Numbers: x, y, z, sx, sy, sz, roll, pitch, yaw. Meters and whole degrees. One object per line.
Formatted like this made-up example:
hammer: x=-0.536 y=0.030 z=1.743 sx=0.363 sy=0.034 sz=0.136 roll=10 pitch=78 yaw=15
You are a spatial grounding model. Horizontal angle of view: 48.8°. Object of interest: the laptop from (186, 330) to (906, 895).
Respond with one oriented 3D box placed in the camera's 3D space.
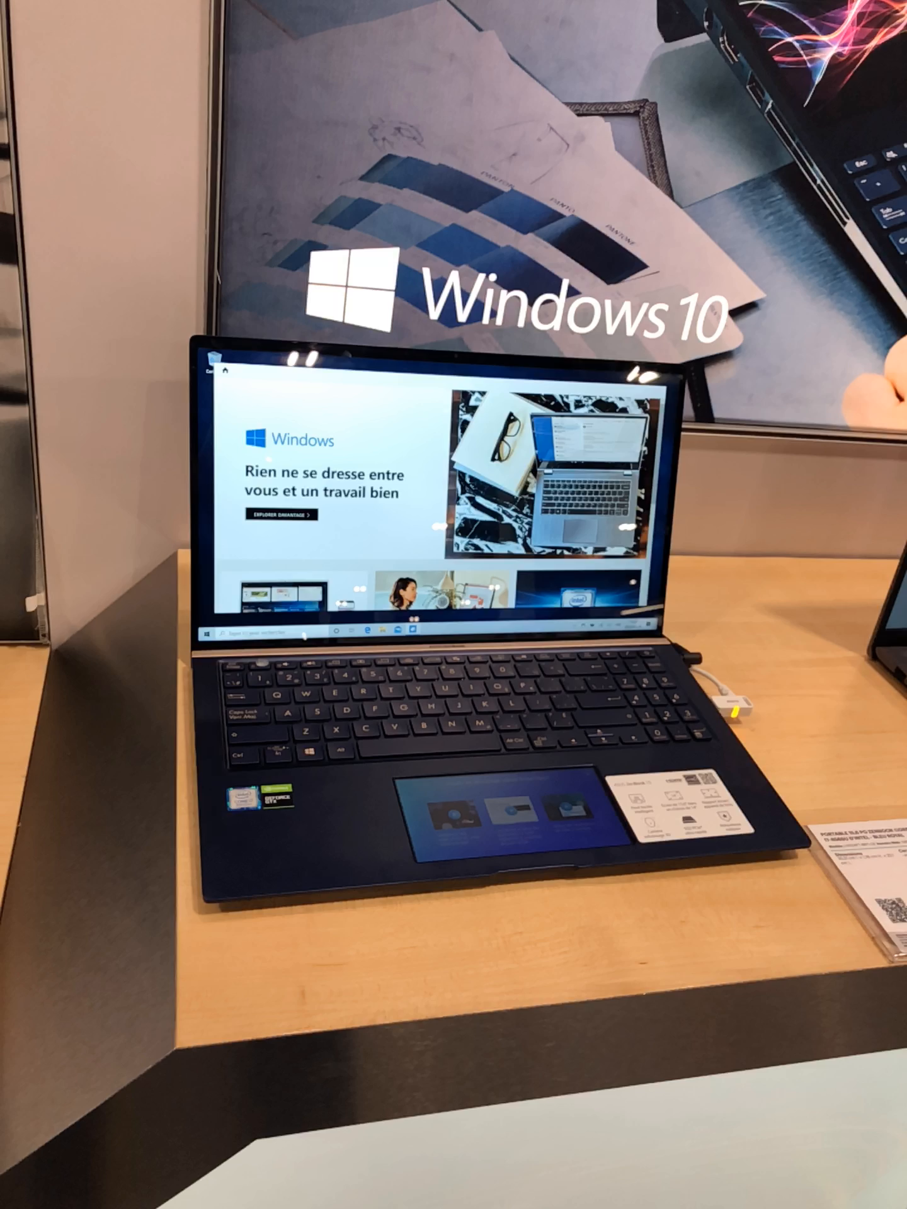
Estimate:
laptop: x=0.022 y=-0.014 z=0.592 sx=0.338 sy=0.183 sz=0.274 roll=0 pitch=33 yaw=-17
